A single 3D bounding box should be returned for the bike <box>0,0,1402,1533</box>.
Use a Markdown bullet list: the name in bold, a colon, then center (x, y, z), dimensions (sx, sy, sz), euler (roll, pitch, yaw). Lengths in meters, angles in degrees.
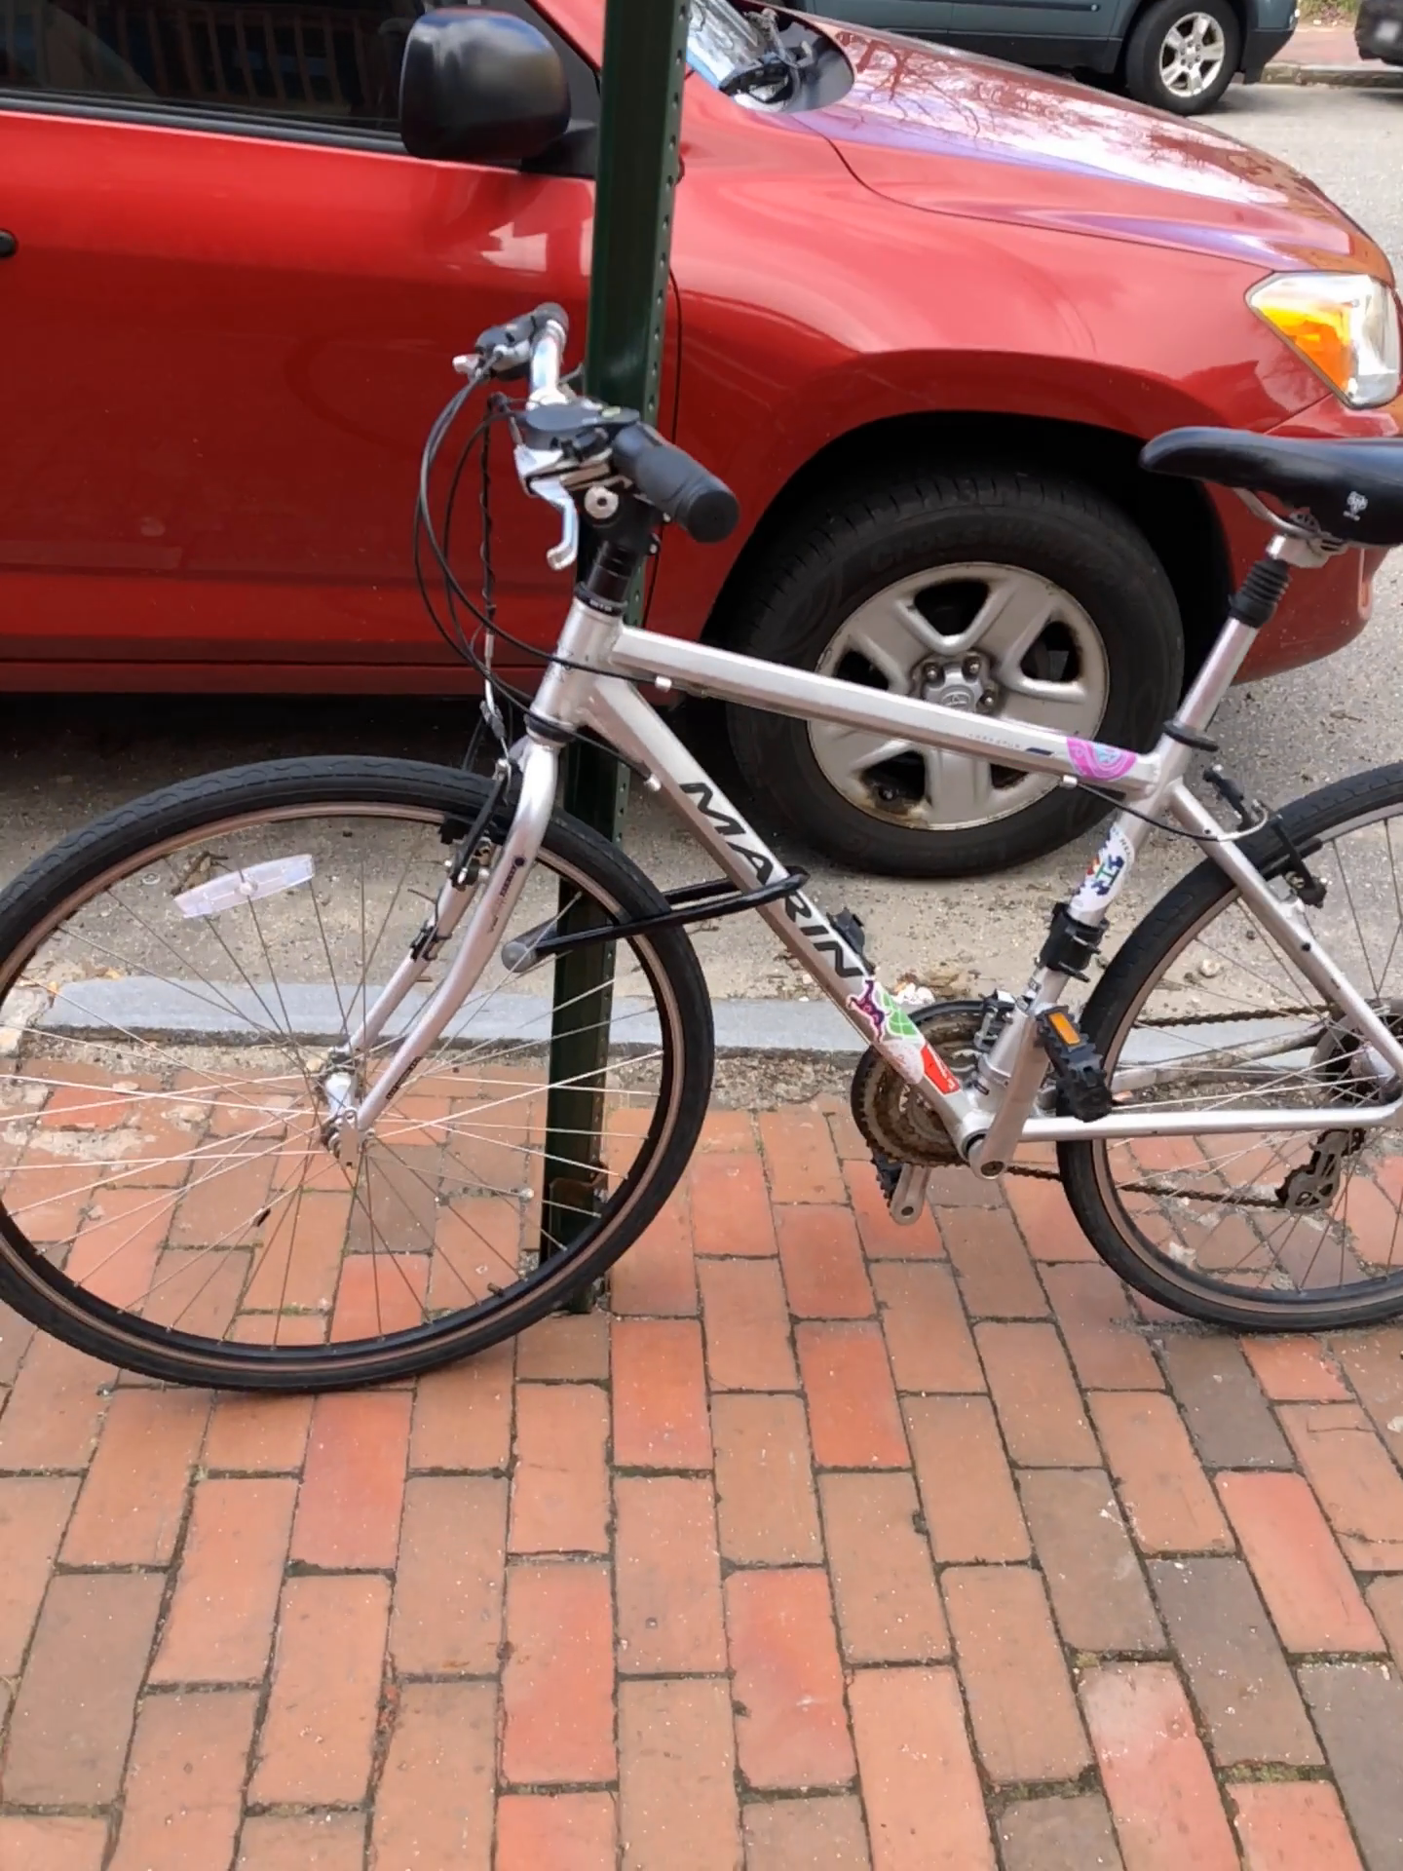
- **bike**: center (0.127, -0.098, 1.294), dimensions (1.560, 1.010, 0.612), euler (1, 36, -12)
